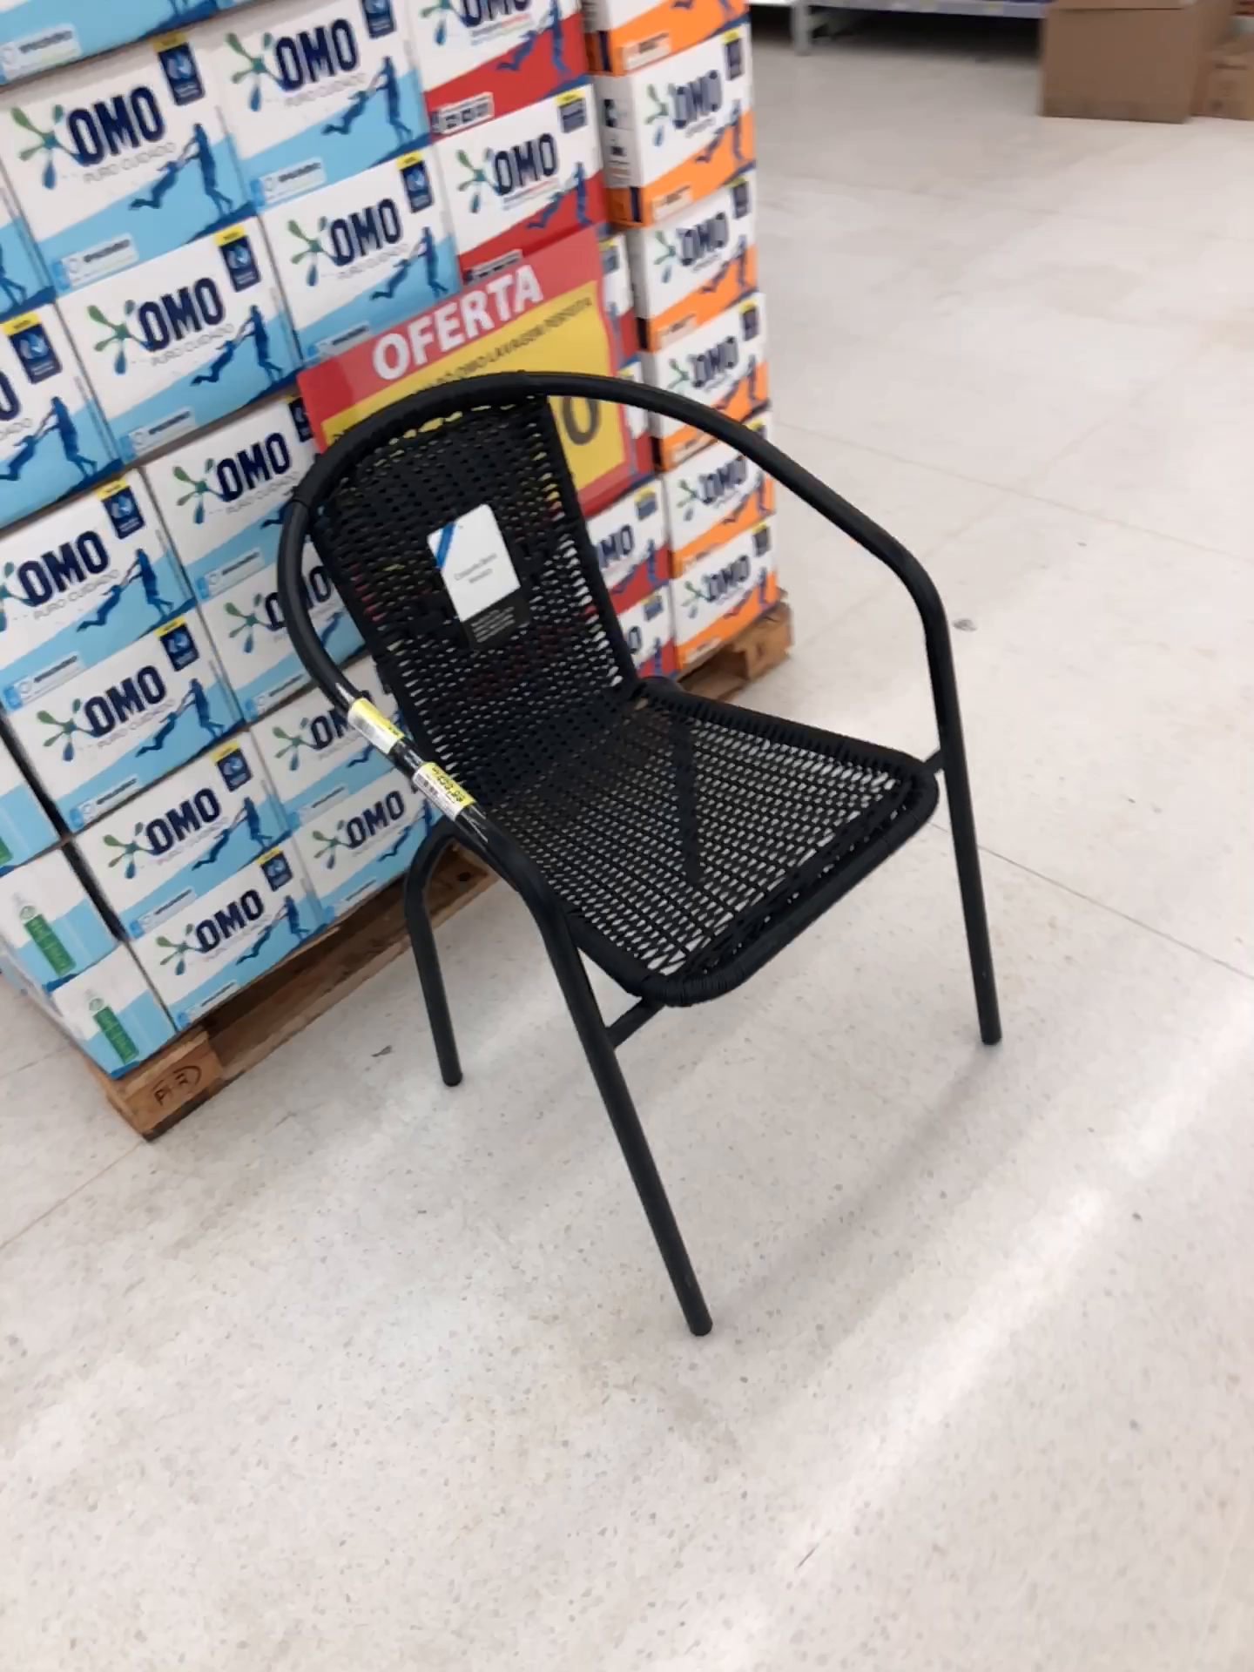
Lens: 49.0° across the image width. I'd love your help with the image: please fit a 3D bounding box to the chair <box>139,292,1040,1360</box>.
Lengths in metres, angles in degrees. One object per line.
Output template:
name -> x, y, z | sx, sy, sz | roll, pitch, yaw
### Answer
chair -> 0.011, -0.021, 1.302 | 0.501, 0.725, 0.502 | -37, 47, -27
